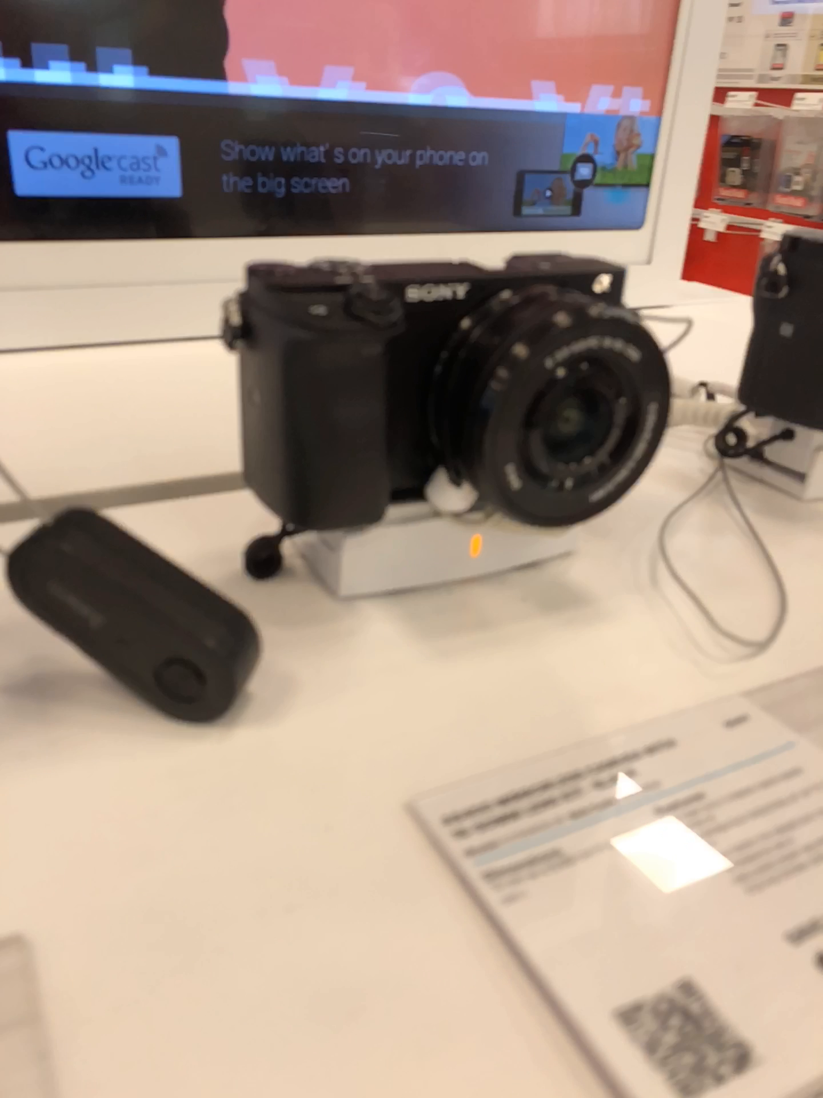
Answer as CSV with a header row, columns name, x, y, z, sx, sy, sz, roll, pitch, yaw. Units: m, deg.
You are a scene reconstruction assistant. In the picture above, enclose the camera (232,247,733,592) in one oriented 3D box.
name,x,y,z,sx,sy,sz,roll,pitch,yaw
camera,0.018,-0.046,0.265,0.120,0.070,0.070,-11,30,-27
